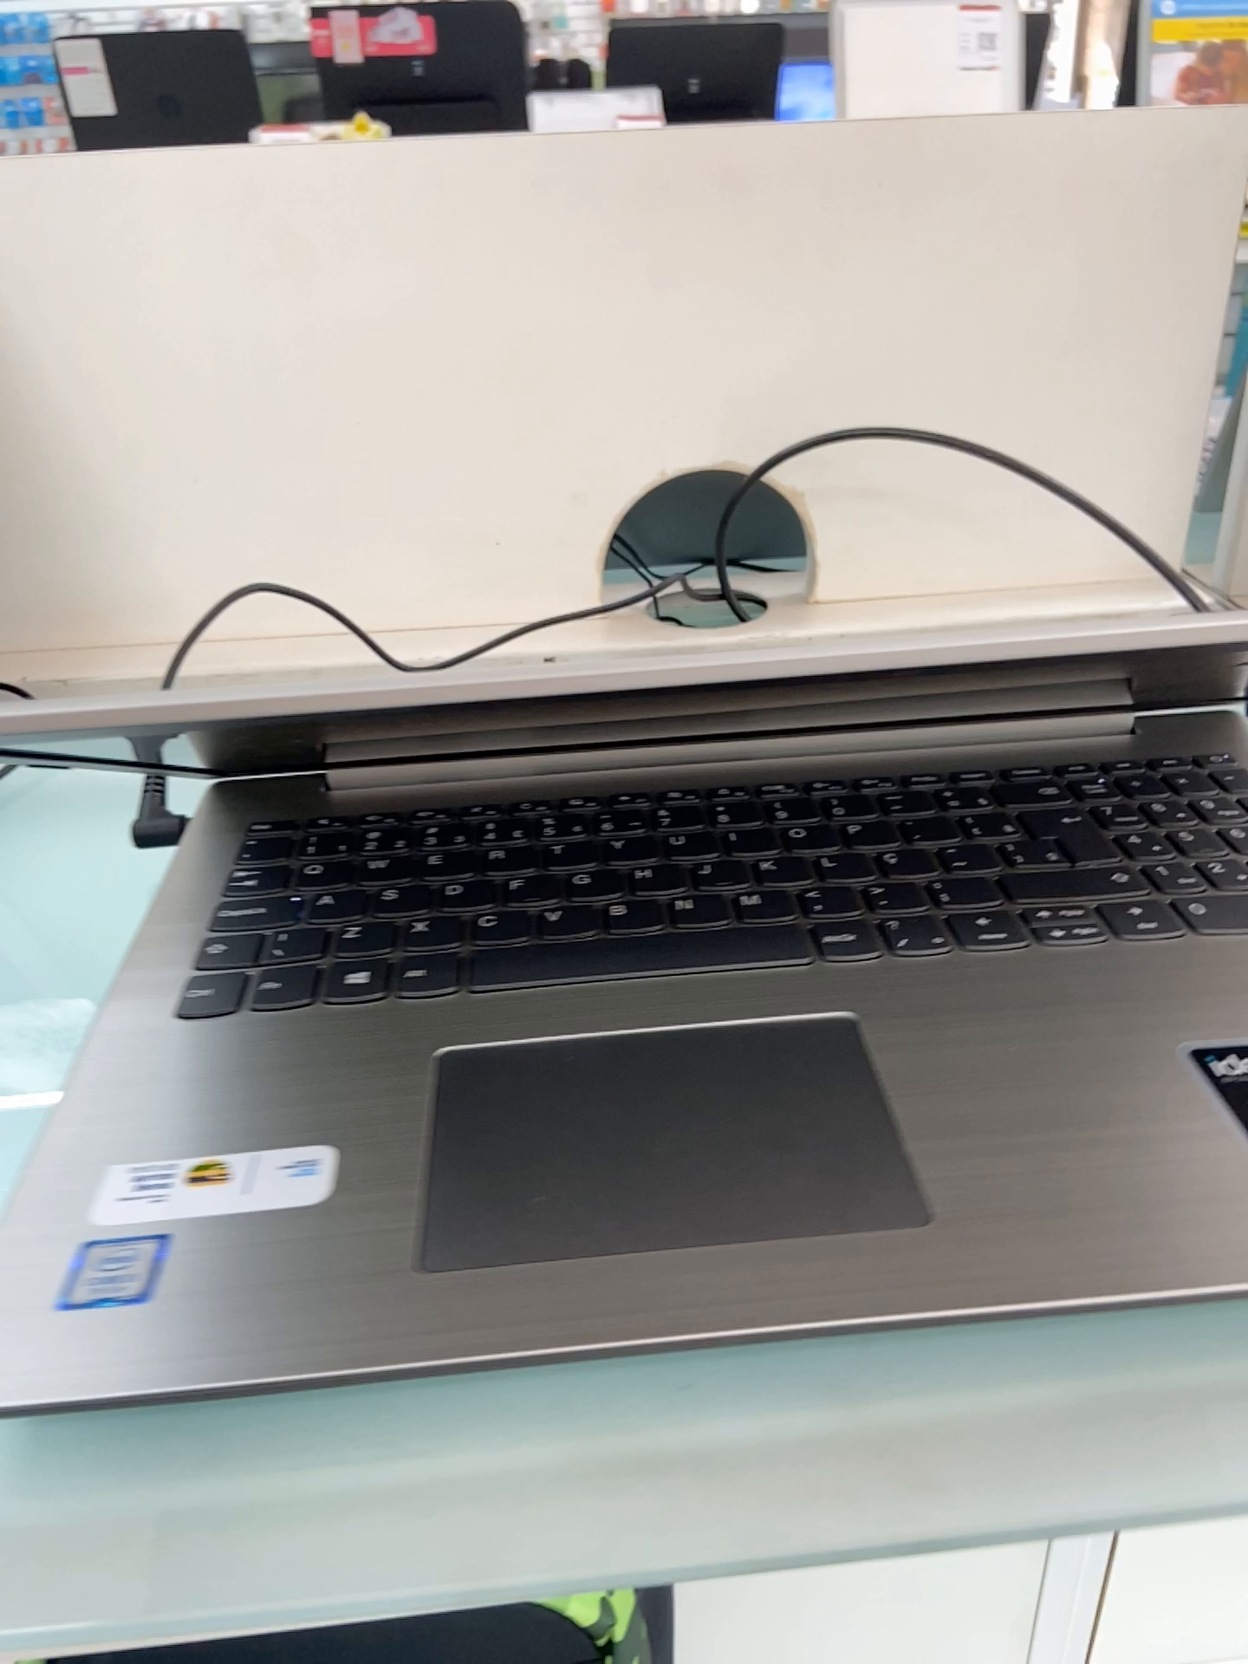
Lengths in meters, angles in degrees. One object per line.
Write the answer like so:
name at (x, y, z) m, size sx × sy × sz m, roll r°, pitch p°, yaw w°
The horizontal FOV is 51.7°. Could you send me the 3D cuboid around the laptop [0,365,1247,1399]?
laptop at (0.043, -0.022, 0.322) m, size 0.369 × 0.114 × 0.247 m, roll -5°, pitch 29°, yaw -2°
